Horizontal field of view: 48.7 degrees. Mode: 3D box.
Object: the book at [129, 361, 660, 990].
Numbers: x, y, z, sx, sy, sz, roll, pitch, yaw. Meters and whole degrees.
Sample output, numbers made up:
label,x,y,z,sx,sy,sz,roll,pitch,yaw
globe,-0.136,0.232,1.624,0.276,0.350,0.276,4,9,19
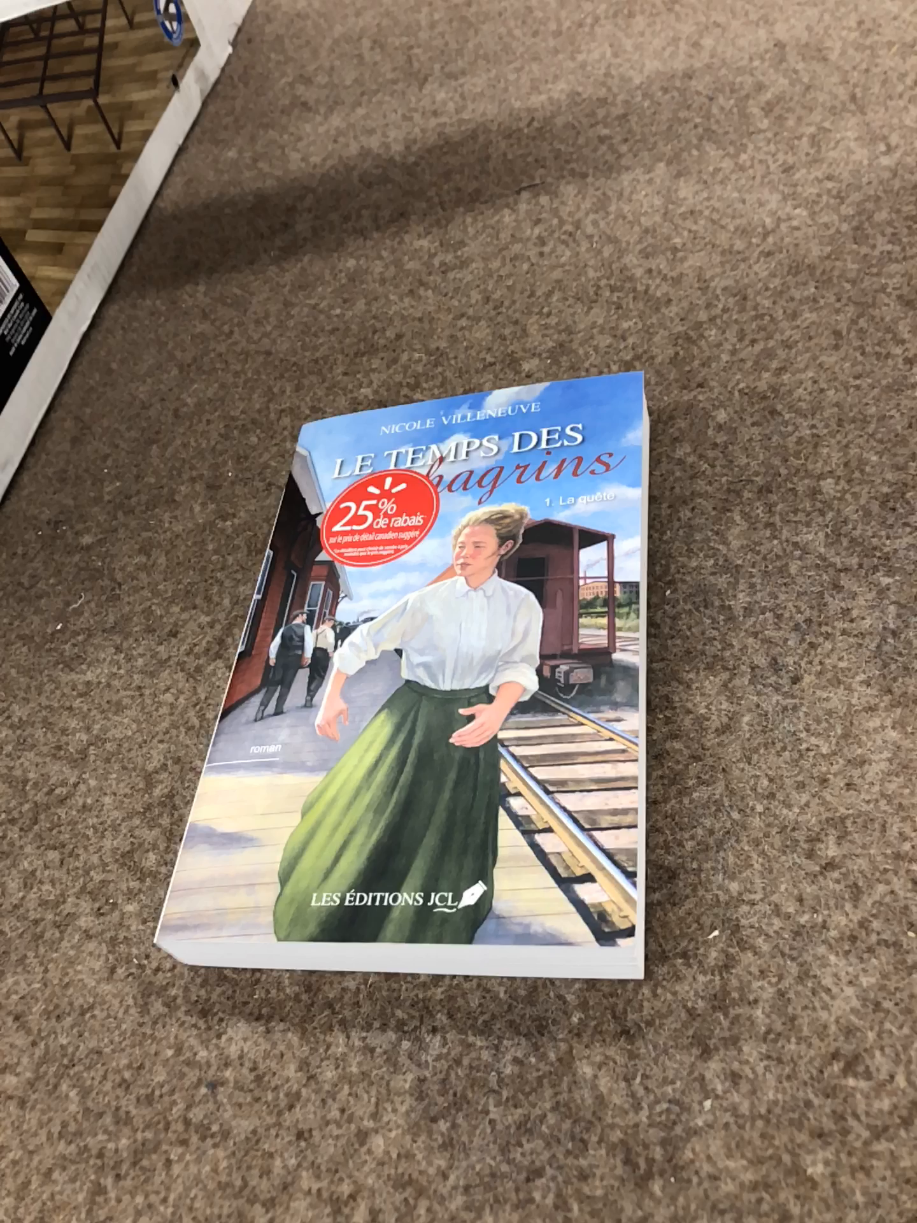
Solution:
label,x,y,z,sx,sy,sz,roll,pitch,yaw
book,-0.009,0.011,0.358,0.155,0.030,0.225,-5,53,18
